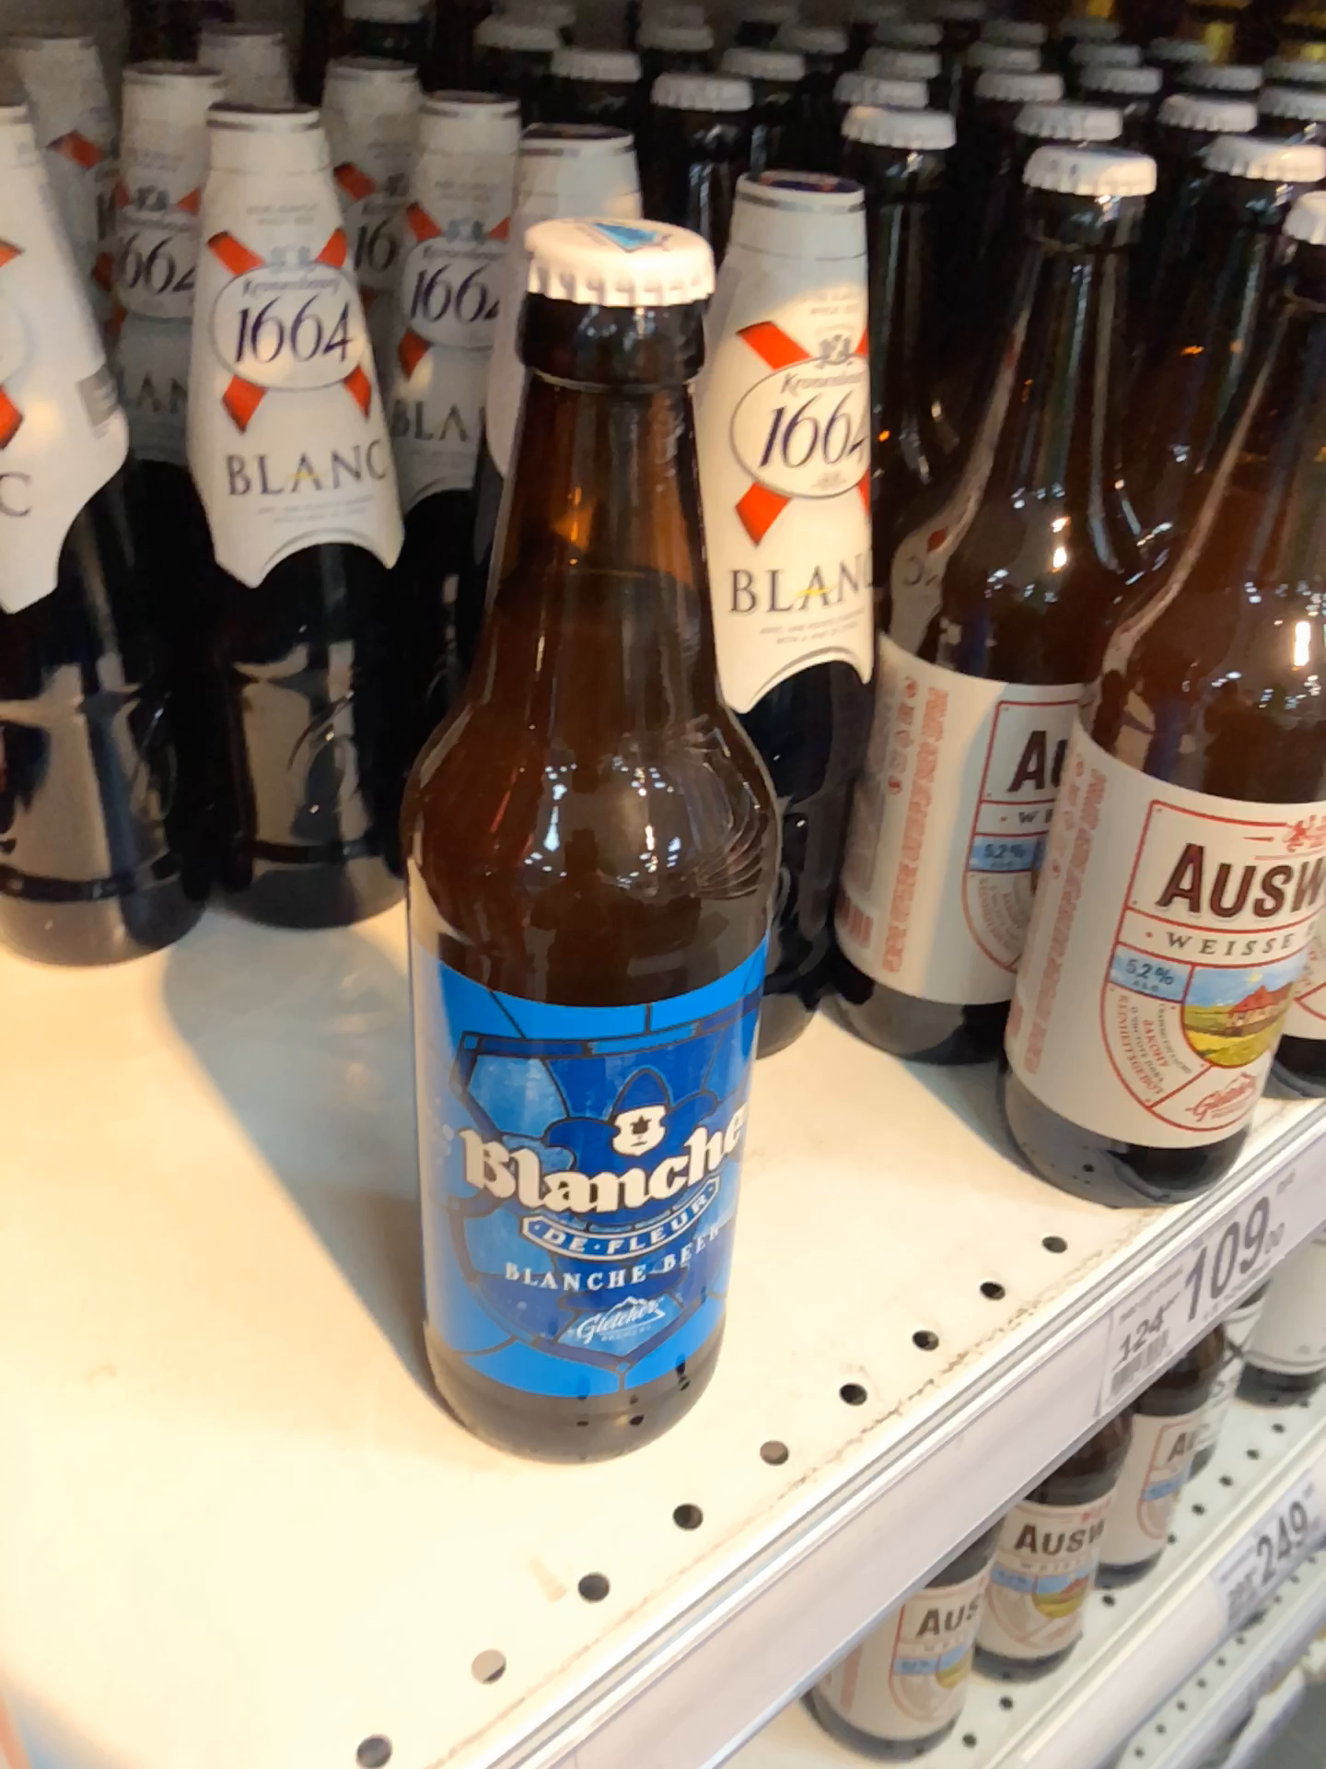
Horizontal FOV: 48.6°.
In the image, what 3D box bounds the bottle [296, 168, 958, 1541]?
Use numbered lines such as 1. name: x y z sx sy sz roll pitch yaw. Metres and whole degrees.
1. bottle: -0.014 0.007 0.273 0.070 0.244 0.070 3 34 -2
